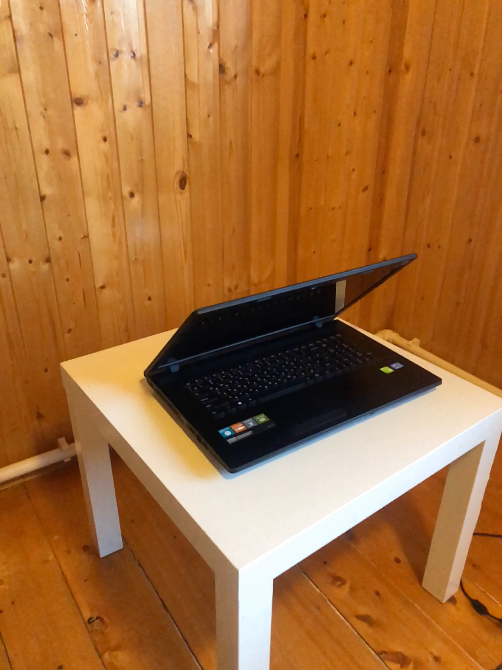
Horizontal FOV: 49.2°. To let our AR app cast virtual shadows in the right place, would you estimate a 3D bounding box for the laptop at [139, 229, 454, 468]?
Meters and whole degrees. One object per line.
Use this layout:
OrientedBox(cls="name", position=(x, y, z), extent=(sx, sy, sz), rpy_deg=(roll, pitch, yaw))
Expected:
OrientedBox(cls="laptop", position=(0.071, -0.013, 0.845), extent=(0.402, 0.183, 0.252), rpy_deg=(-16, 32, -32))
